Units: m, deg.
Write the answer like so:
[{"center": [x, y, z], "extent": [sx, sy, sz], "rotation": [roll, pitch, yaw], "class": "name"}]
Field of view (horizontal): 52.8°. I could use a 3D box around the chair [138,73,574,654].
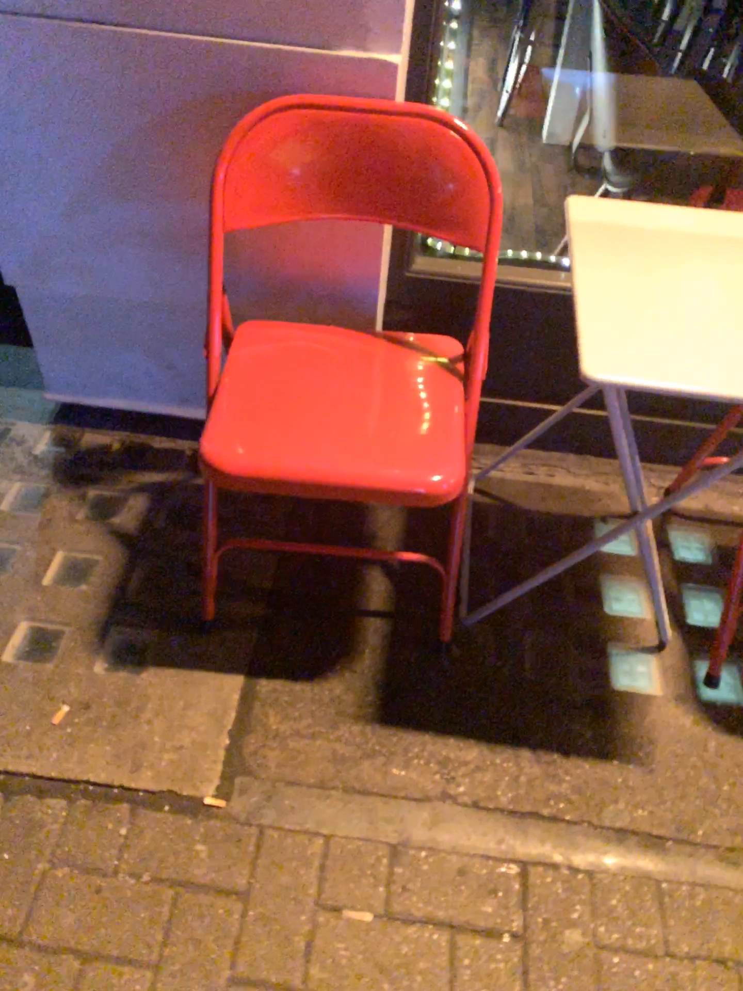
[{"center": [-0.022, -0.193, 1.254], "extent": [0.470, 0.742, 0.536], "rotation": [6, 45, 0], "class": "chair"}]
